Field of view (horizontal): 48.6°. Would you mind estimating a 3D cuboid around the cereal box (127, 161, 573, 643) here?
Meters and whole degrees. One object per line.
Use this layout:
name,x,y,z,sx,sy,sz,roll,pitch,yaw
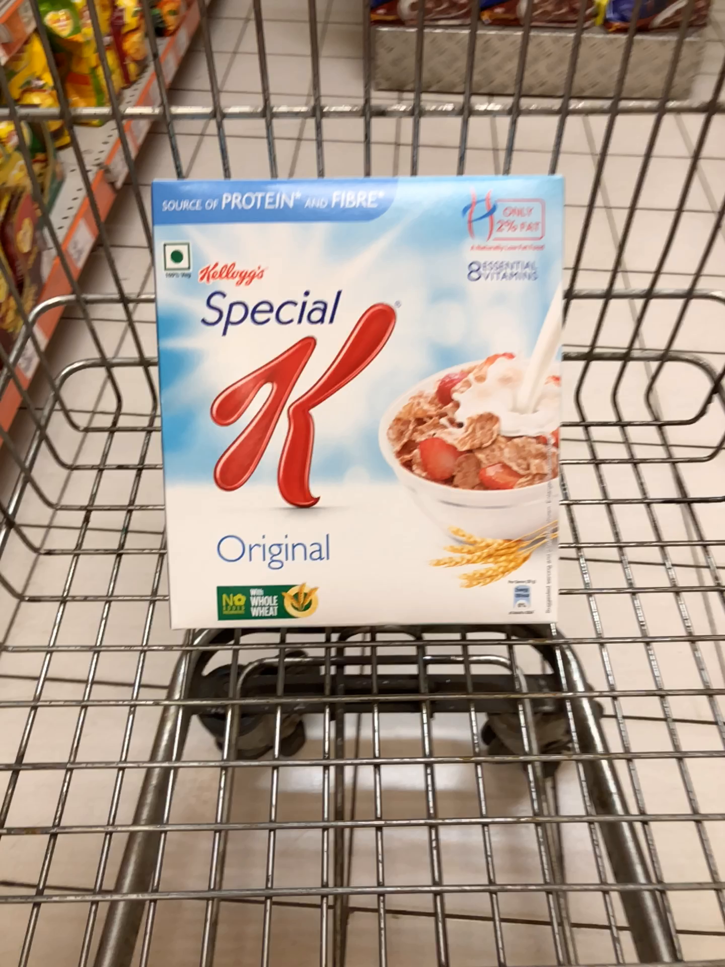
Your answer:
cereal box,-0.004,-0.038,0.390,0.190,0.210,0.070,-1,7,-2
